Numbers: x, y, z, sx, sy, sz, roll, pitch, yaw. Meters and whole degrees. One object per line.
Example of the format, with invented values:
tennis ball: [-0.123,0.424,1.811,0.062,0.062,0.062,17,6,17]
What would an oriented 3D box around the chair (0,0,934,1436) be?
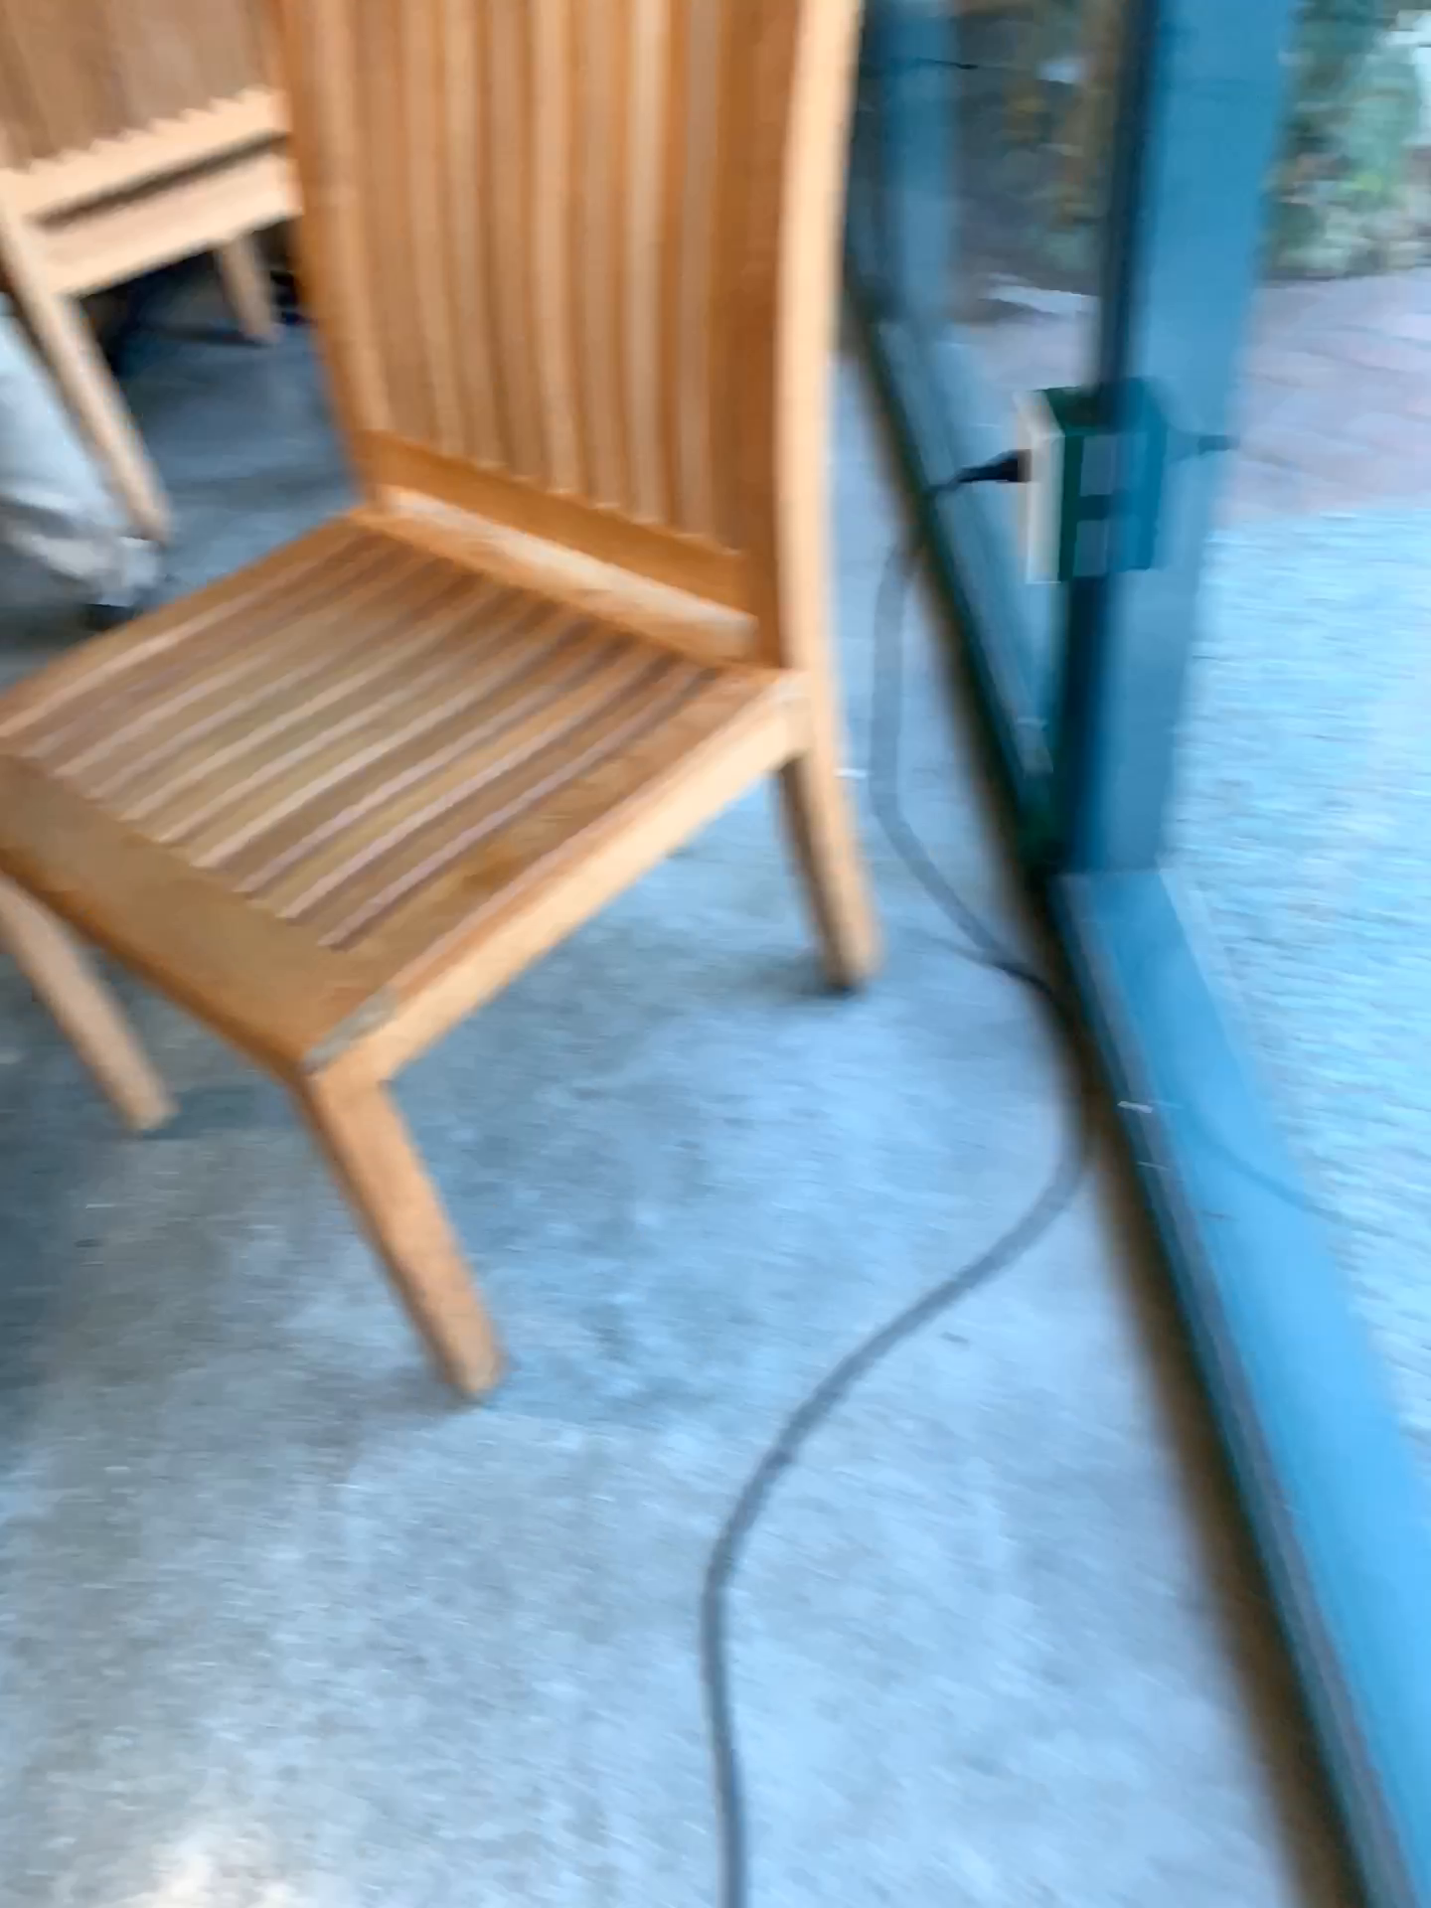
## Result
chair: [-0.242,-0.251,1.033,0.533,0.914,0.611,29,56,31]
